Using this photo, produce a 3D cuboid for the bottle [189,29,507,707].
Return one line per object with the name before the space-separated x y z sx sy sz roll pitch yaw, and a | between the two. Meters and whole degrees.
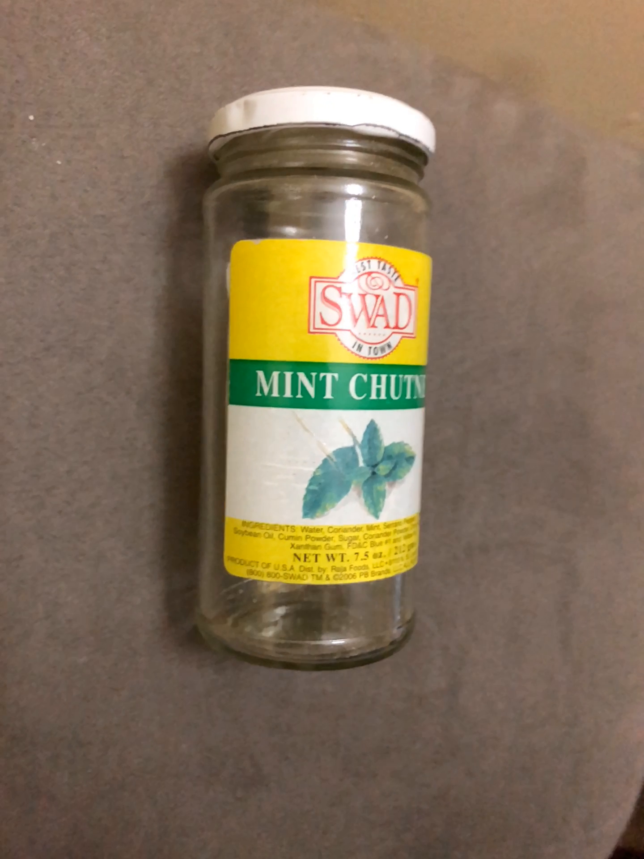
bottle | 0.001 -0.012 0.179 0.057 0.056 0.133 0 96 -21
